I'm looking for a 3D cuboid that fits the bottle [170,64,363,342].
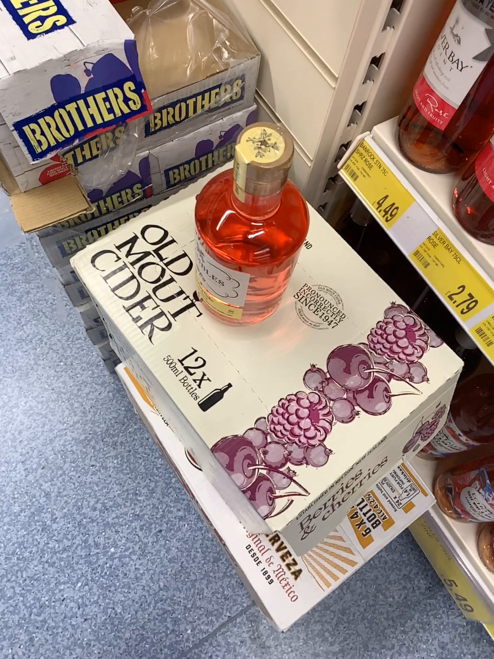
[{"bbox_3d":[0.002,-0.072,0.351,0.076,0.176,0.077,2,67,-5],"label":"bottle"}]
